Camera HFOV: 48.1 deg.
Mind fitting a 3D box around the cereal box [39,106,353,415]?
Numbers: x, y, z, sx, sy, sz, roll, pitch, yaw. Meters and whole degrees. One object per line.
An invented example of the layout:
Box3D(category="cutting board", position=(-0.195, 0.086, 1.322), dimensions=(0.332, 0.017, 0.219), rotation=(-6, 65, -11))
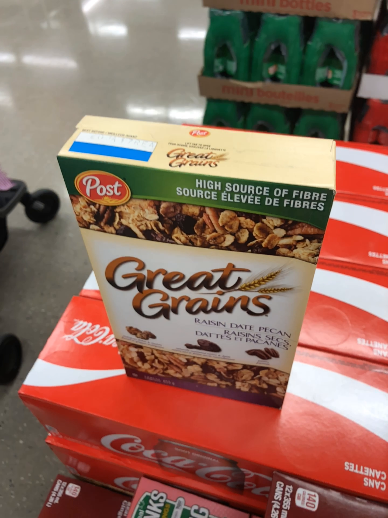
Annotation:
Box3D(category="cereal box", position=(0.008, 0.024, 0.344), dimensions=(0.170, 0.269, 0.050), rotation=(9, 49, 13))
